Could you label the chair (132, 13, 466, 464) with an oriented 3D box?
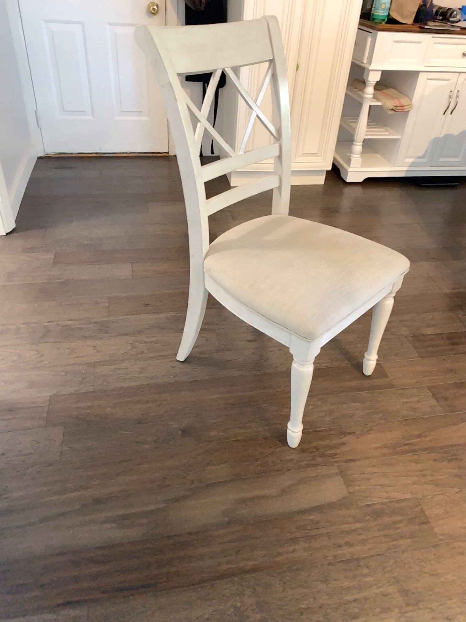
[{"bbox_3d":[0.168,-0.225,1.298,0.652,0.924,0.531,32,45,32],"label":"chair"}]
